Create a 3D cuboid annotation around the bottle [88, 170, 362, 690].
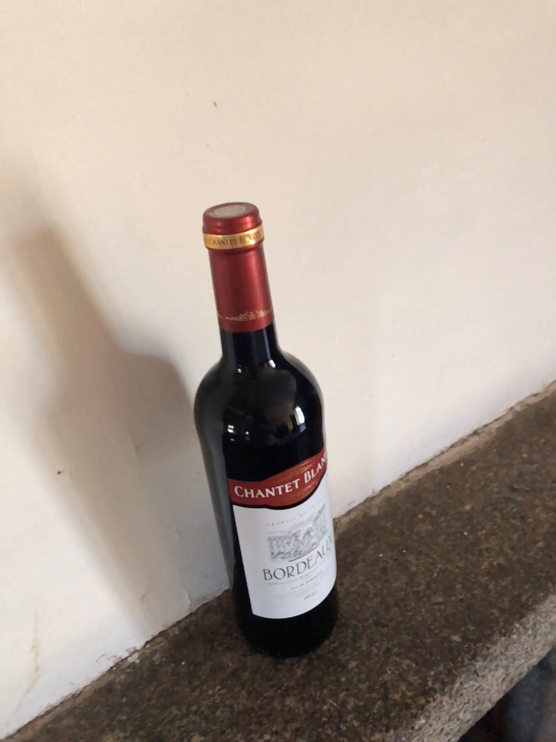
[{"bbox_3d":[-0.016,0.046,0.355,0.080,0.288,0.080,-6,32,4],"label":"bottle"}]
